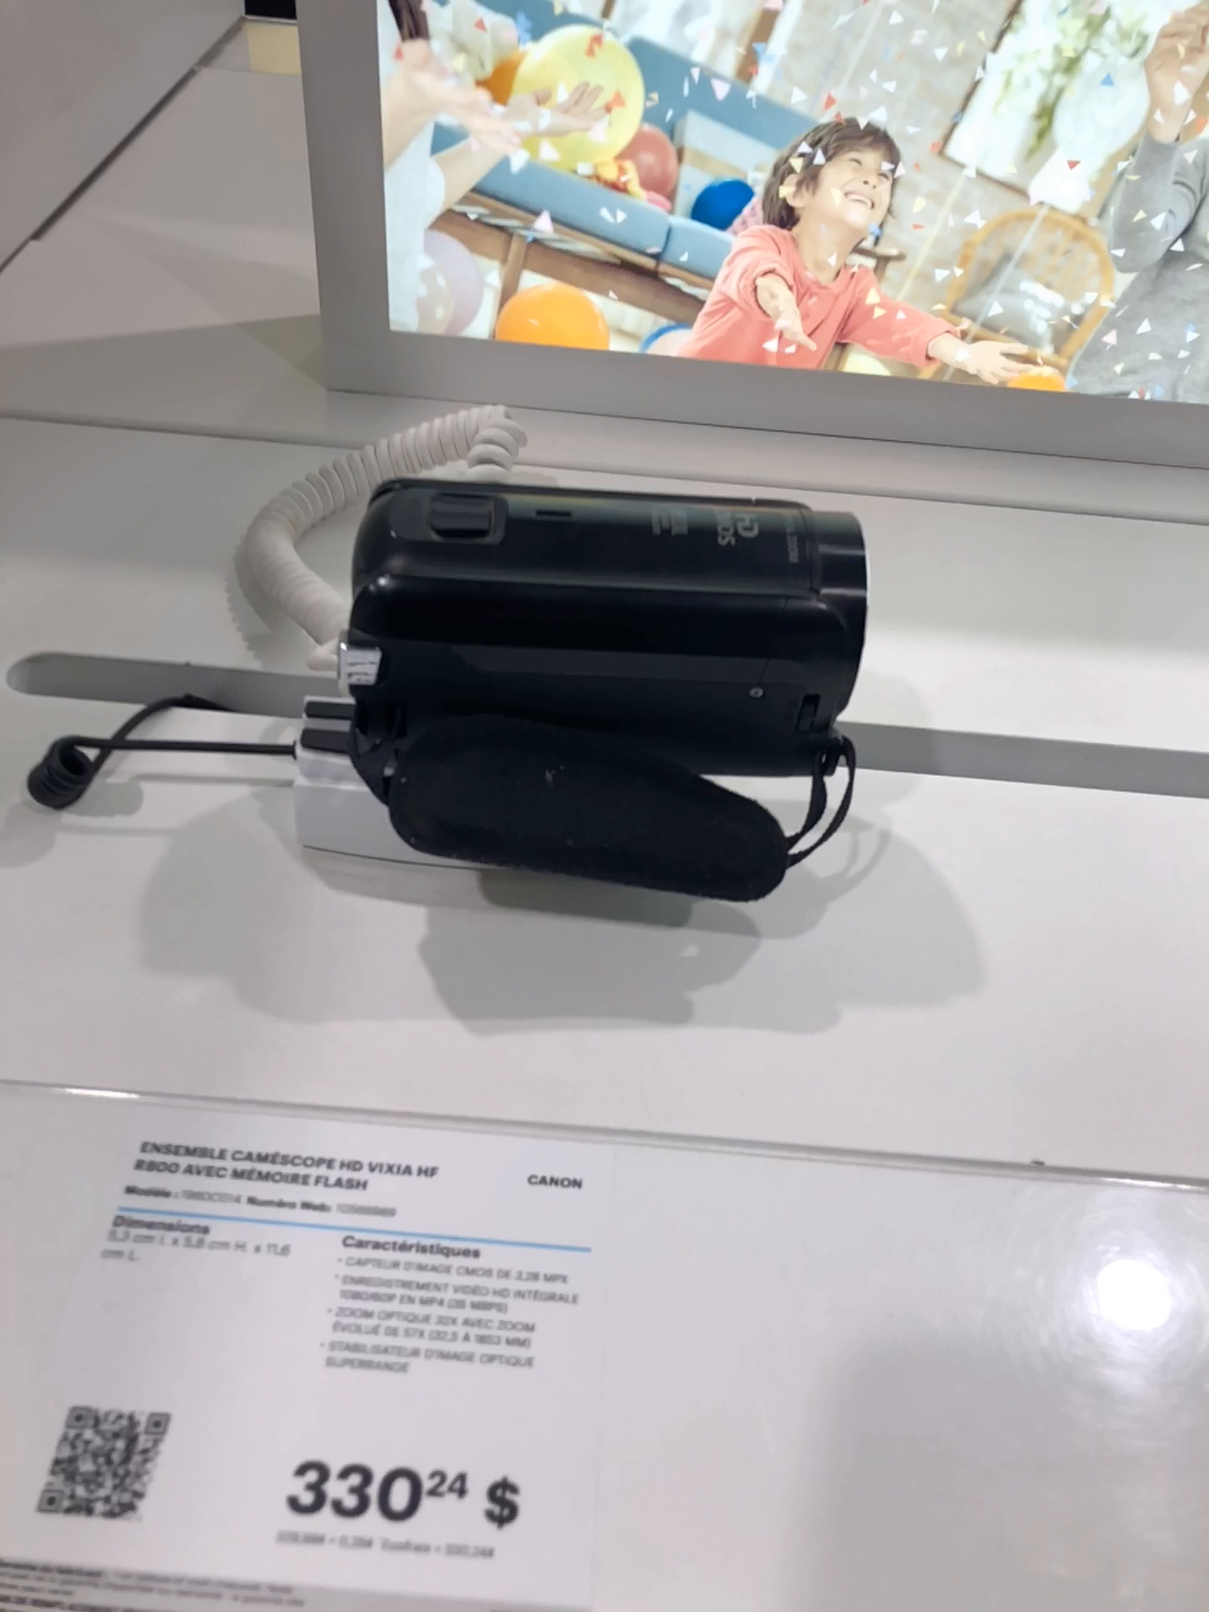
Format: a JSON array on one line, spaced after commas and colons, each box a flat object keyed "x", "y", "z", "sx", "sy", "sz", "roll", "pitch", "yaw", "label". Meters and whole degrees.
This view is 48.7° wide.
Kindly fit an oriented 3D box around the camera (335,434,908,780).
[{"x": 0.002, "y": -0.044, "z": 0.297, "sx": 0.113, "sy": 0.050, "sz": 0.050, "roll": 3, "pitch": 43, "yaw": -3, "label": "camera"}]
